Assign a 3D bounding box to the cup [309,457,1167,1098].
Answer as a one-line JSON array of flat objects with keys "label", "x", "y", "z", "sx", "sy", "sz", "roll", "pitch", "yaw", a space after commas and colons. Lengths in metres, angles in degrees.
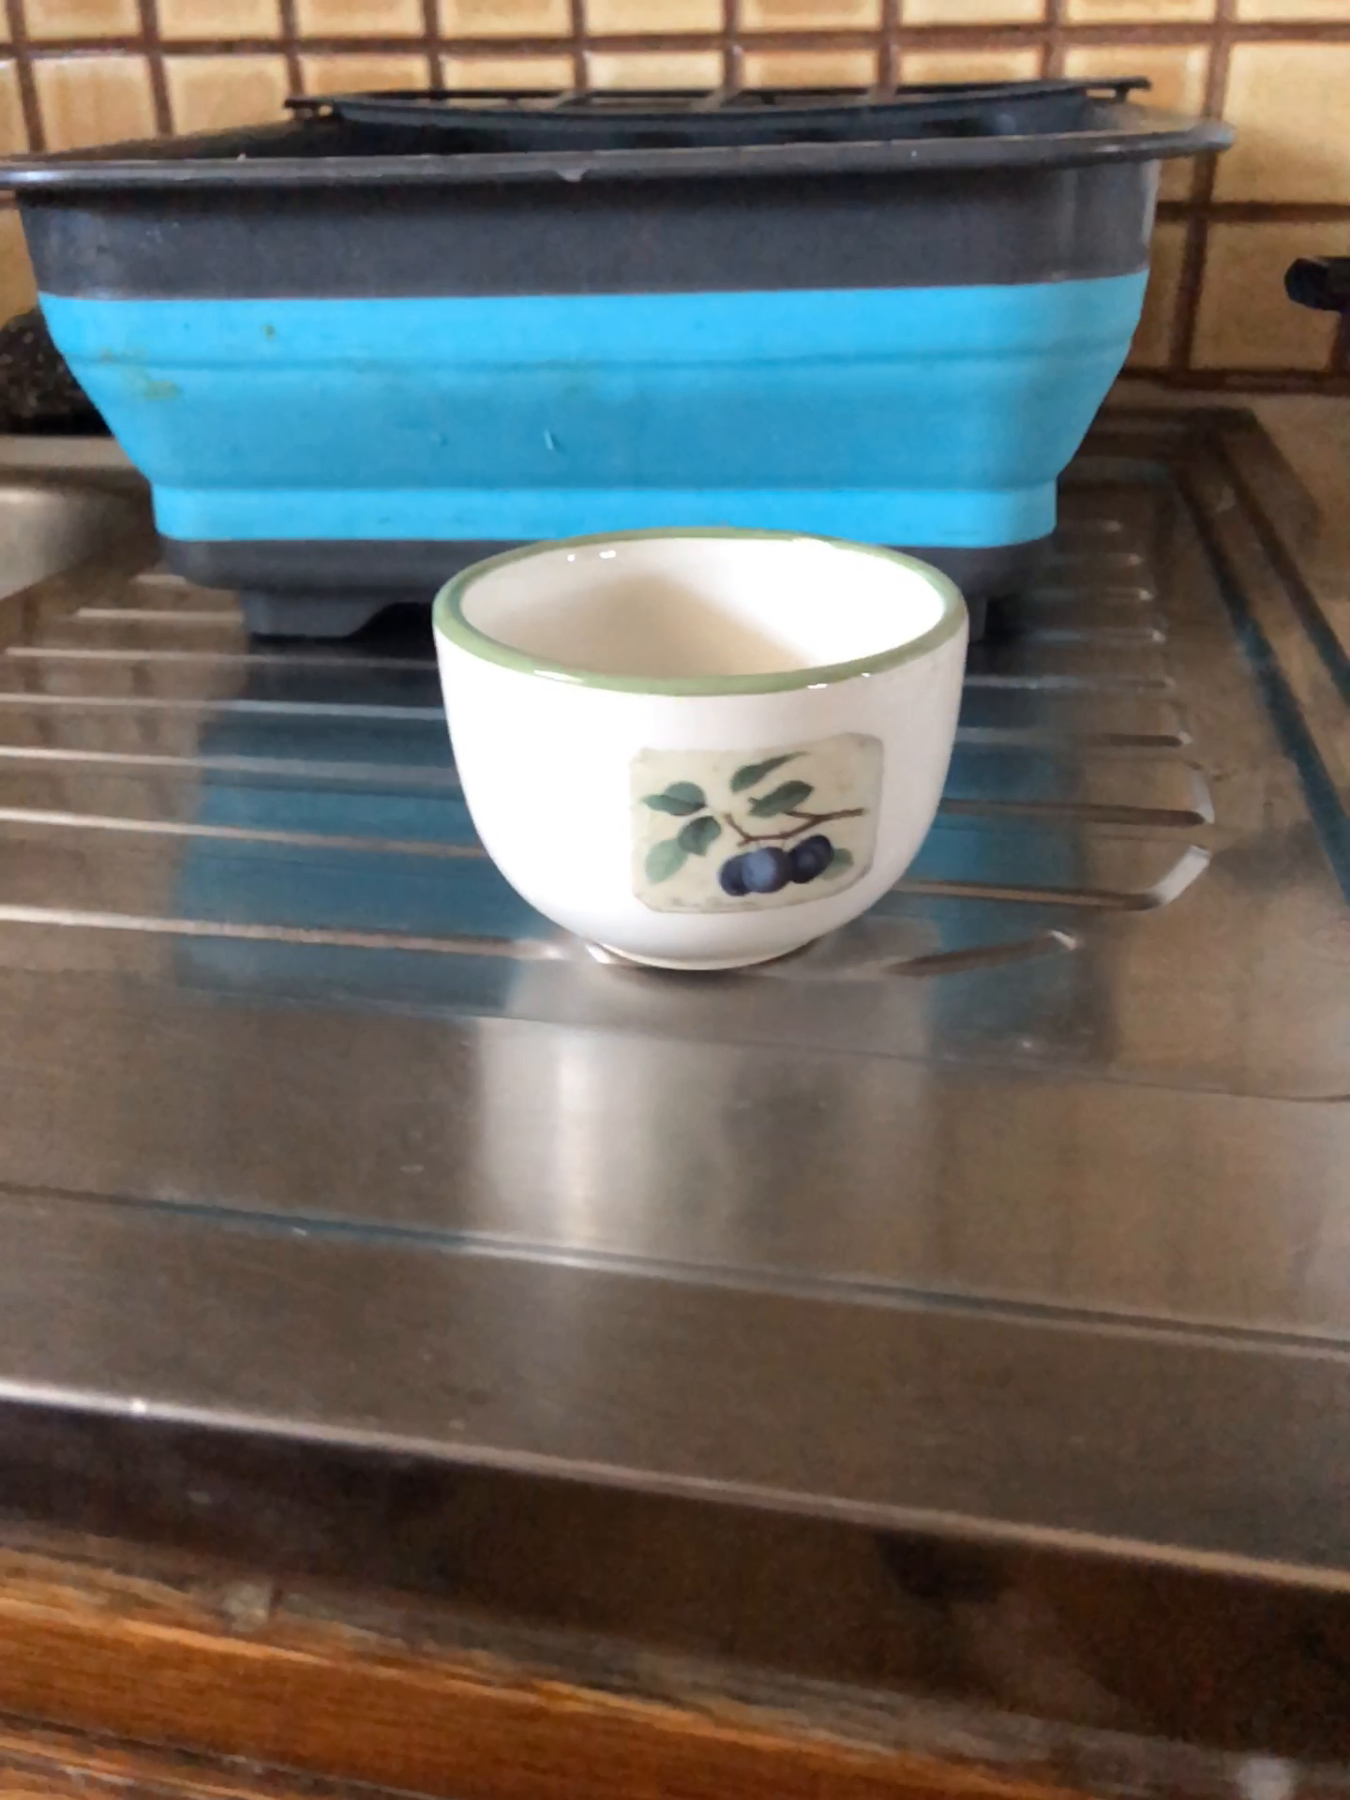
[{"label": "cup", "x": 0.010, "y": -0.031, "z": 0.263, "sx": 0.110, "sy": 0.060, "sz": 0.090, "roll": -21, "pitch": 35, "yaw": -33}]
